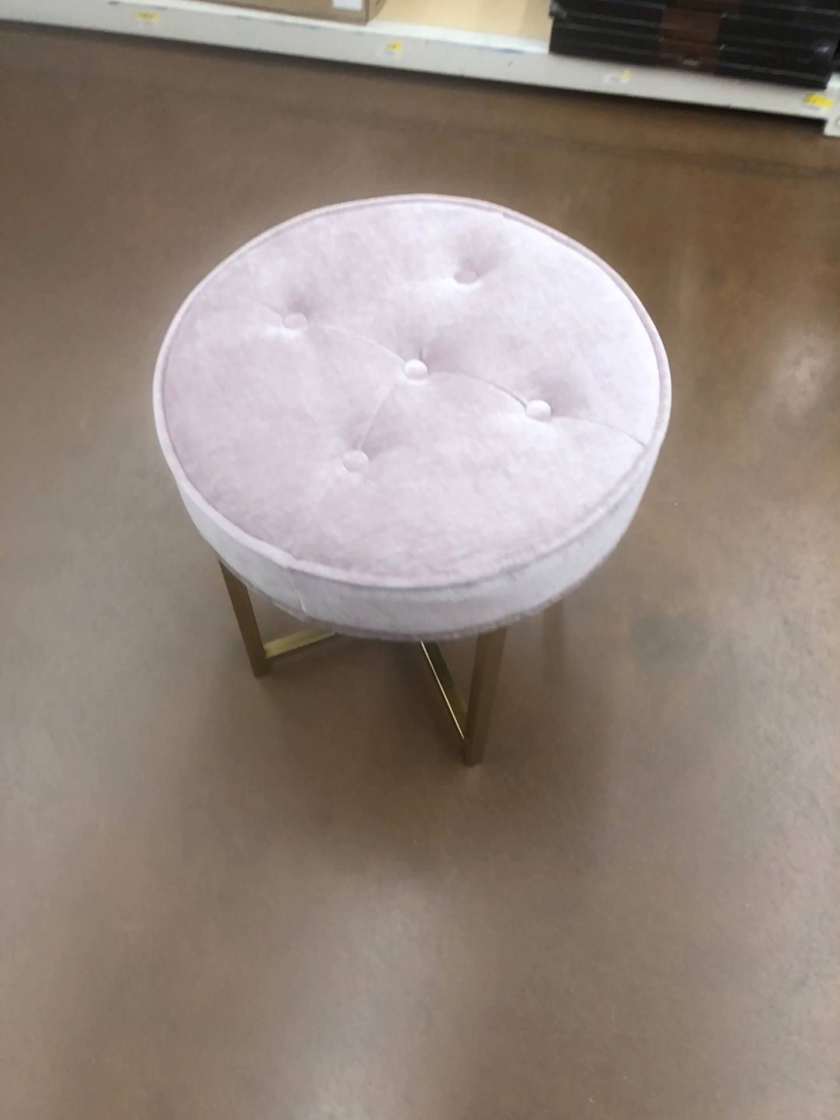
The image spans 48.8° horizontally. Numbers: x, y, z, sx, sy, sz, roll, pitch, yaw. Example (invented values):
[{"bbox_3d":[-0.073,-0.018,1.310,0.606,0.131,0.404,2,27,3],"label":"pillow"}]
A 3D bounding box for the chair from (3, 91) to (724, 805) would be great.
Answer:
[{"bbox_3d":[-0.017,-0.111,0.928,0.450,0.389,0.471,18,59,11],"label":"chair"}]
